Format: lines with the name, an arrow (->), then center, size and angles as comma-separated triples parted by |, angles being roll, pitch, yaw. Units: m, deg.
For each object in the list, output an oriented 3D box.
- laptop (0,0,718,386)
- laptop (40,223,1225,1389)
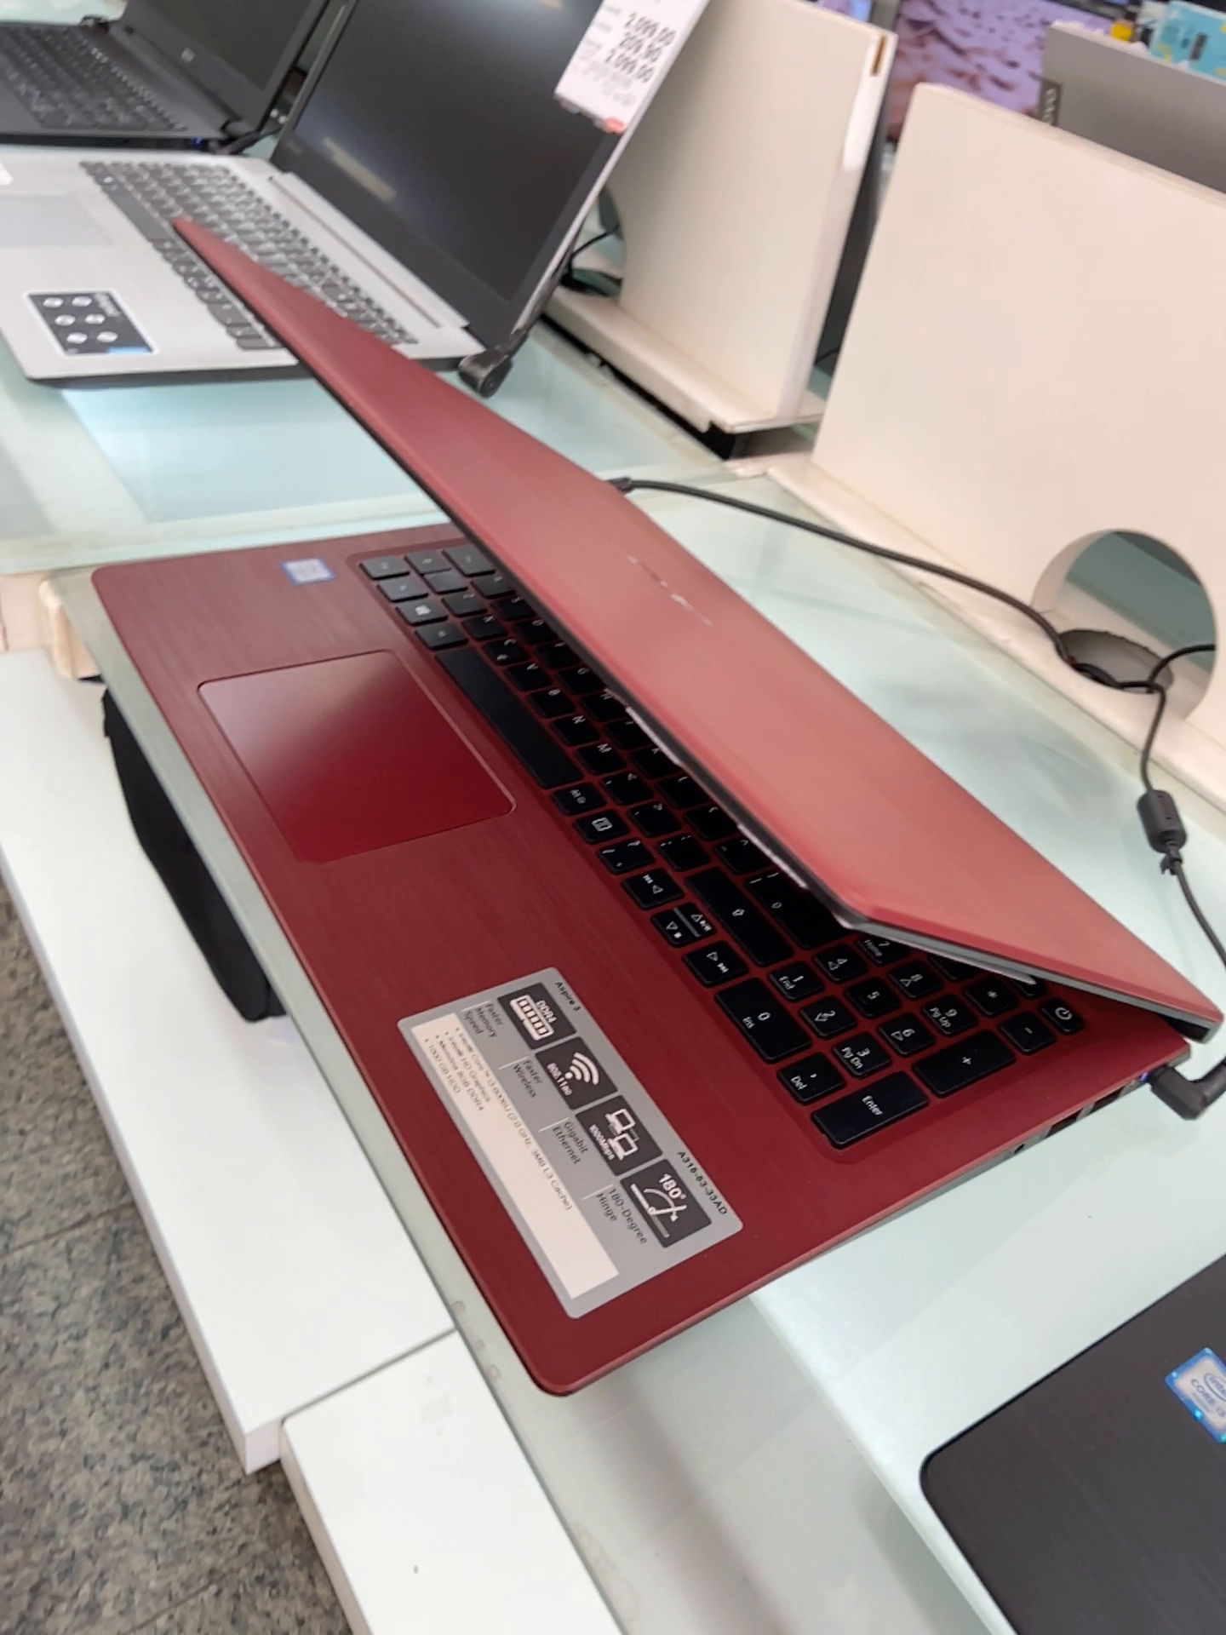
laptop -> -0.213, -0.460, 0.771 | 0.378, 0.215, 0.354 | -16, 48, -29
laptop -> -0.006, -0.064, 0.418 | 0.237, 0.132, 0.381 | -16, 47, -30
